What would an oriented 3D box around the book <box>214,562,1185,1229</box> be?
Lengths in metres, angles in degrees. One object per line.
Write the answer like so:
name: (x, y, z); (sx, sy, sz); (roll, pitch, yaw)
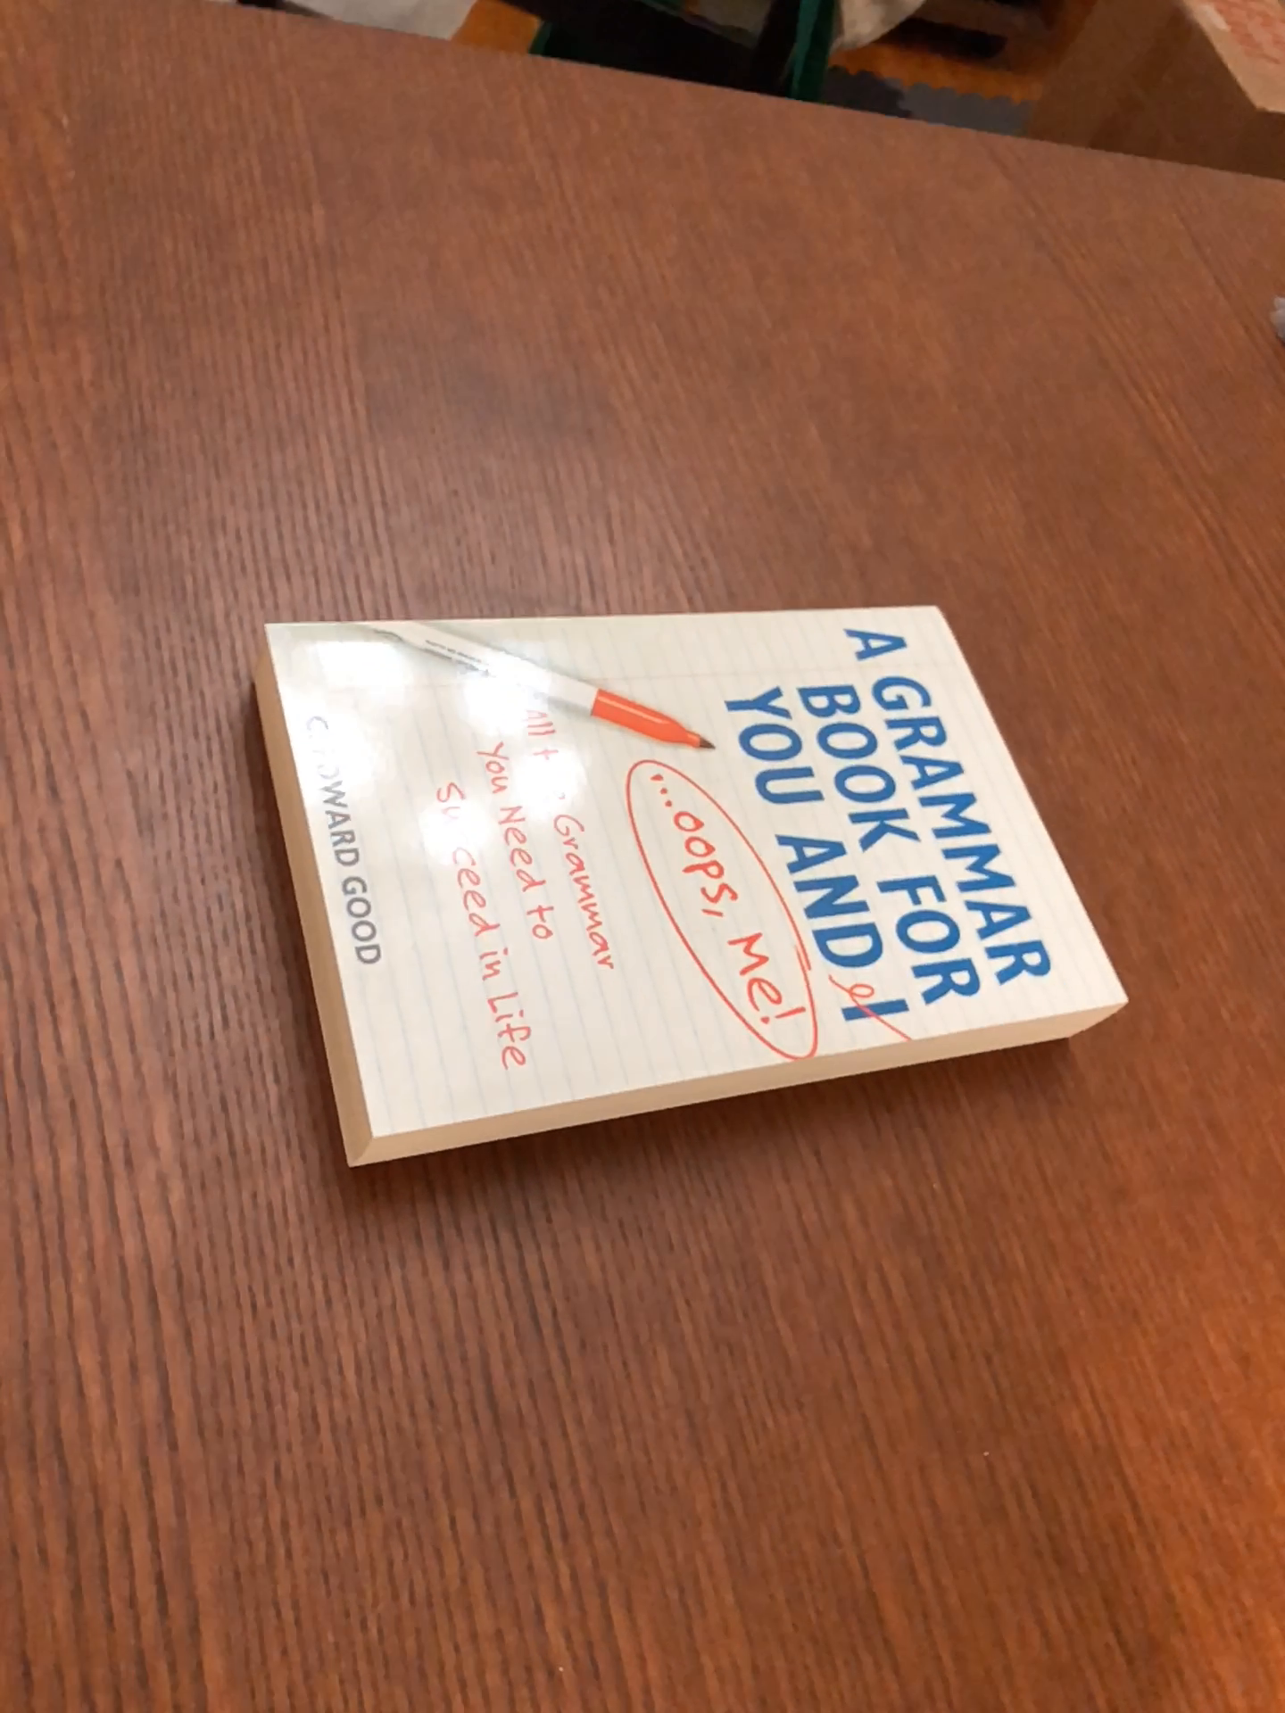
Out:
book: (0.015, -0.005, 0.406); (0.240, 0.040, 0.171); (-5, 61, -24)
